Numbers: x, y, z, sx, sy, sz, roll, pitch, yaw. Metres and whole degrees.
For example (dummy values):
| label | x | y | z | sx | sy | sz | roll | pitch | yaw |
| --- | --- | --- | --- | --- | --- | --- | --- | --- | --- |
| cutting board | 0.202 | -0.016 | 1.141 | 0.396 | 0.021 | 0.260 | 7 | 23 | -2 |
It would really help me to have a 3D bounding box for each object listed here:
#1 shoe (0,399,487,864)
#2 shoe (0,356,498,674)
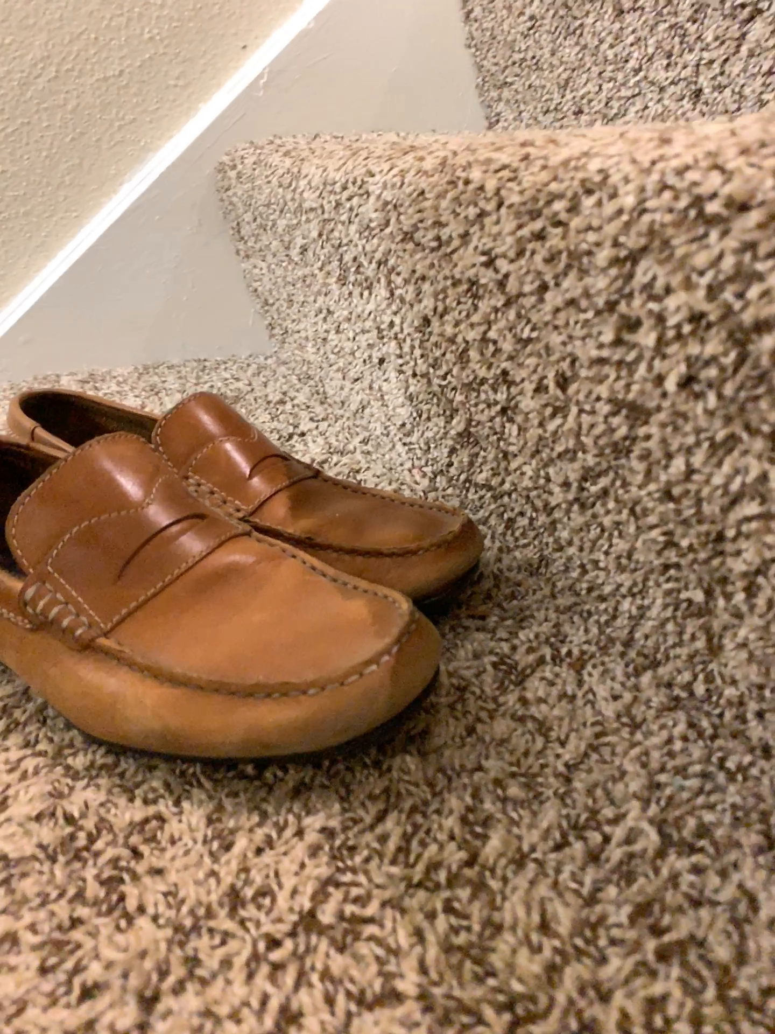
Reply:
| label | x | y | z | sx | sy | sz | roll | pitch | yaw |
| --- | --- | --- | --- | --- | --- | --- | --- | --- | --- |
| shoe | -0.112 | 0.018 | 0.336 | 0.281 | 0.070 | 0.120 | 14 | 29 | 31 |
| shoe | -0.094 | -0.019 | 0.389 | 0.281 | 0.070 | 0.090 | 14 | 29 | 31 |
